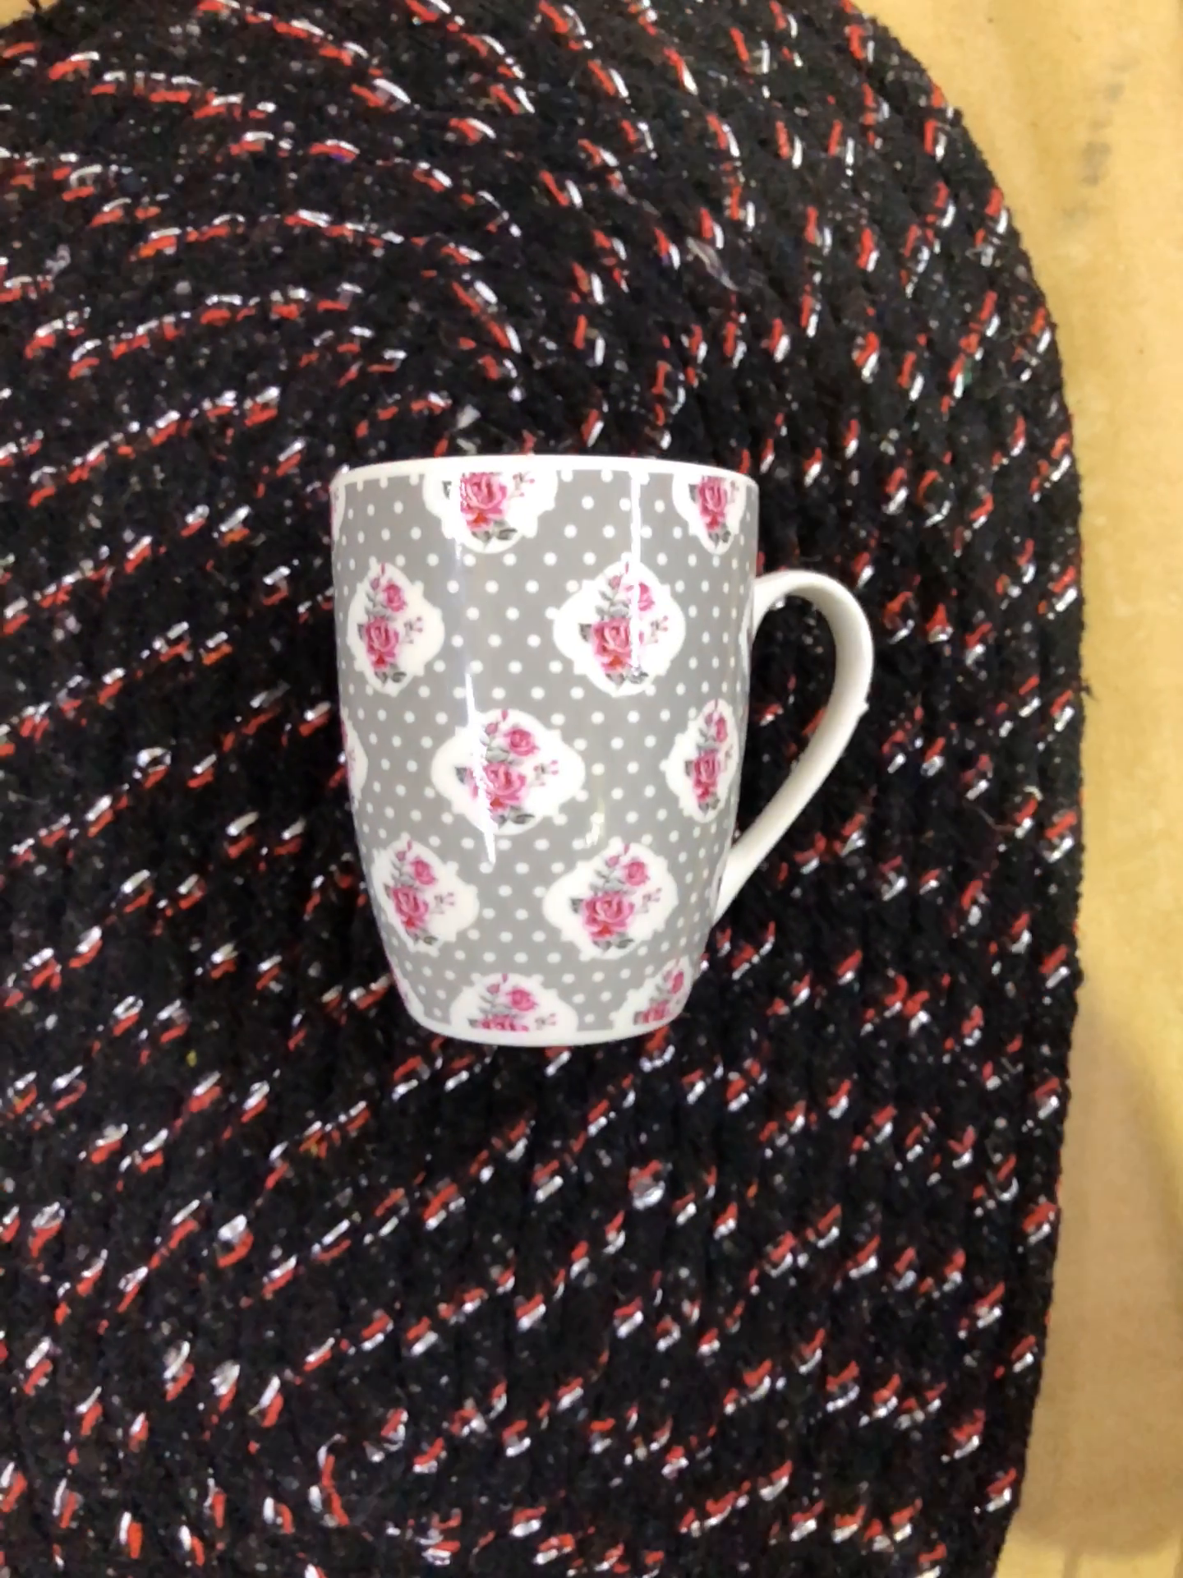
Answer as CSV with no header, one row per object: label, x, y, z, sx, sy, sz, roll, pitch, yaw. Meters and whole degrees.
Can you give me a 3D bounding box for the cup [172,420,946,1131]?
cup,-0.008,-0.011,0.250,0.110,0.090,0.100,-8,99,-27
